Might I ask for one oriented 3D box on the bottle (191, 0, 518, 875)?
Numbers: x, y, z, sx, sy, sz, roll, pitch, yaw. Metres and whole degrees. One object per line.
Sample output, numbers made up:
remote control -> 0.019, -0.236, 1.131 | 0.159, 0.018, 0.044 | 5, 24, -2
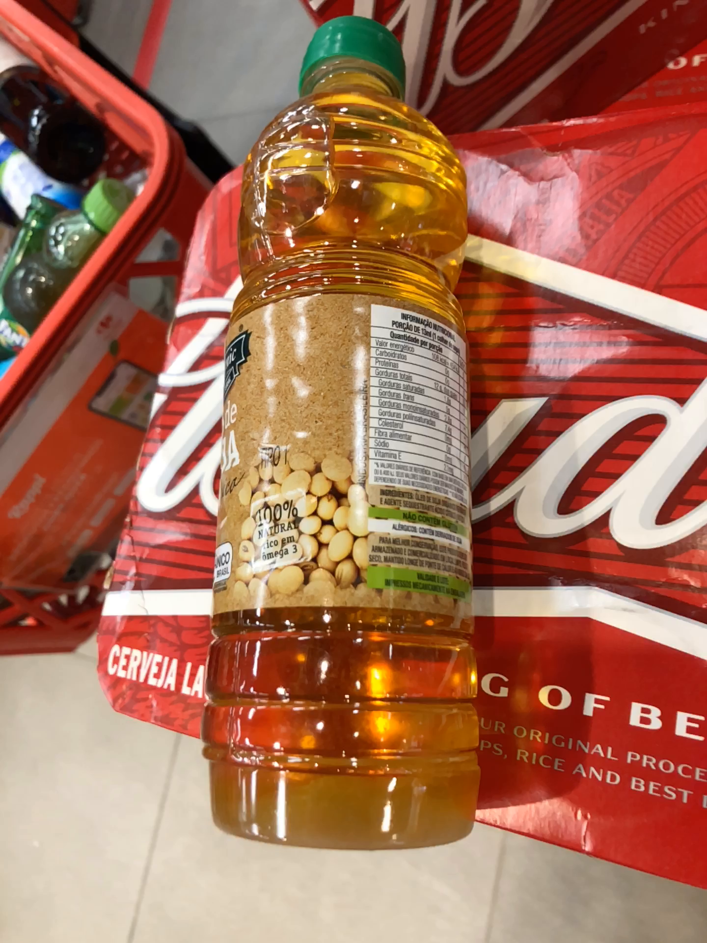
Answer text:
bottle -> -0.001, -0.035, 0.204 | 0.060, 0.060, 0.240 | 4, 74, -10
